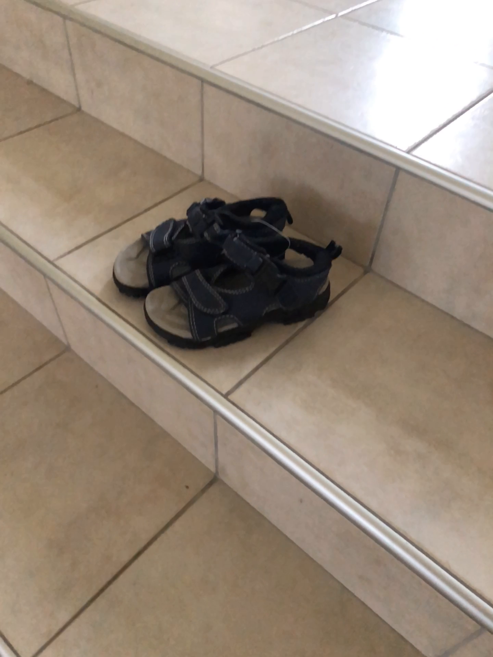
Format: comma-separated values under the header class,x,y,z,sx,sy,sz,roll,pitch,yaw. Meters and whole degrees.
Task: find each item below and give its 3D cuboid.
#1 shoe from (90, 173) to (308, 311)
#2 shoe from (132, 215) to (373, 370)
class,x,y,z,sx,sy,sz,roll,pitch,yaw
shoe,-0.058,-0.106,0.647,0.230,0.089,0.100,-11,49,-13
shoe,0.003,-0.043,0.592,0.230,0.089,0.100,-11,49,-13
